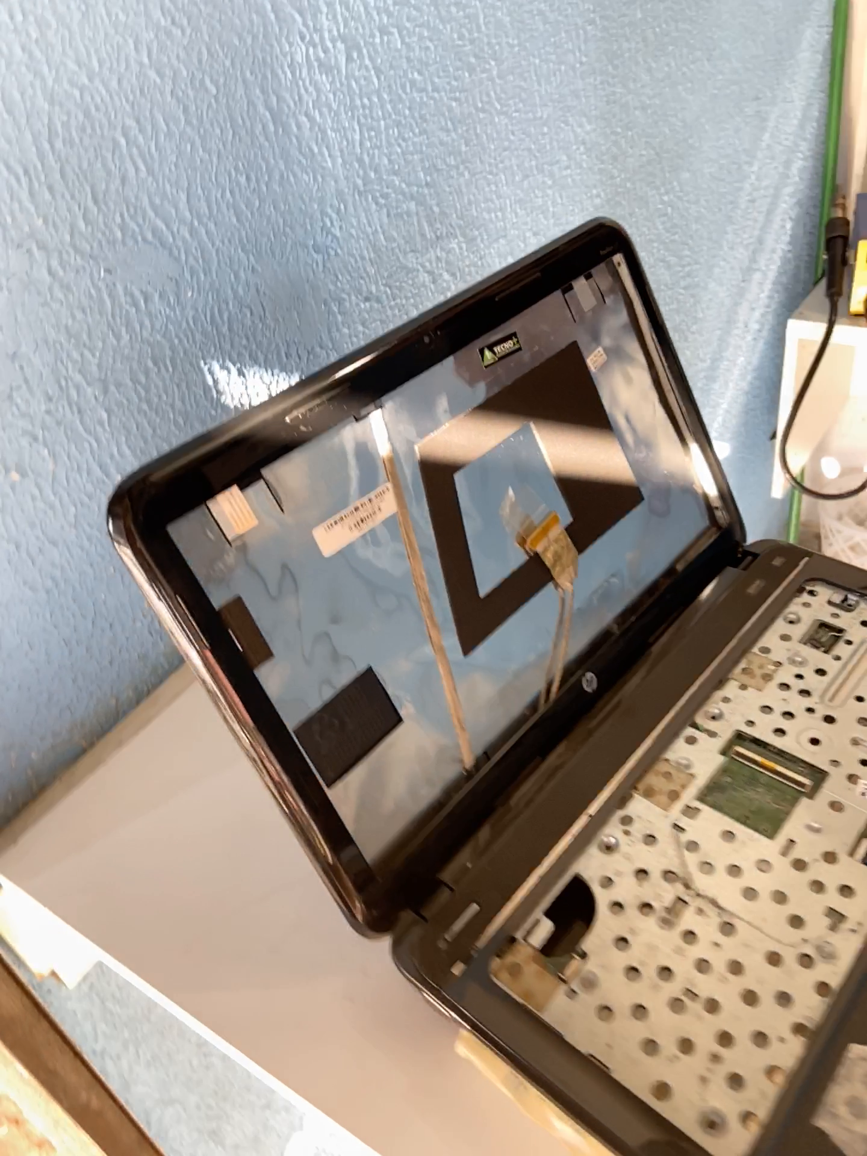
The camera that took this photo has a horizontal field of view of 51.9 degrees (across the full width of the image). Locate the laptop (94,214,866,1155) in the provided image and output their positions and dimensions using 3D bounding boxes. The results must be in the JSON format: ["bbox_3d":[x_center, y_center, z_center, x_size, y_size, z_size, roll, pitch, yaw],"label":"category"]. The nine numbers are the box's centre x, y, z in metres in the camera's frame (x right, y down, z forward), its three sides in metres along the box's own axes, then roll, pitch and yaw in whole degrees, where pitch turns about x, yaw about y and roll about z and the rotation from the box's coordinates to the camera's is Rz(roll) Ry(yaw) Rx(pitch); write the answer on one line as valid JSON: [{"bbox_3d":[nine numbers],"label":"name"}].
[{"bbox_3d":[0.119,0.009,0.375,0.324,0.186,0.336,24,48,37],"label":"laptop"}]
